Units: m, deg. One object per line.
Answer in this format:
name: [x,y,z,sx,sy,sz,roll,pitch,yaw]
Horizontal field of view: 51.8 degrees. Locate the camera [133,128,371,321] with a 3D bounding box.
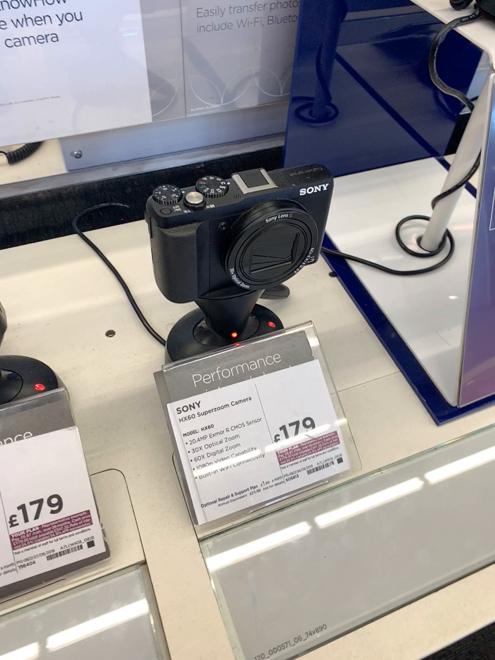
camera: [0.002,-0.057,0.276,0.110,0.069,0.040,-18,54,-17]
